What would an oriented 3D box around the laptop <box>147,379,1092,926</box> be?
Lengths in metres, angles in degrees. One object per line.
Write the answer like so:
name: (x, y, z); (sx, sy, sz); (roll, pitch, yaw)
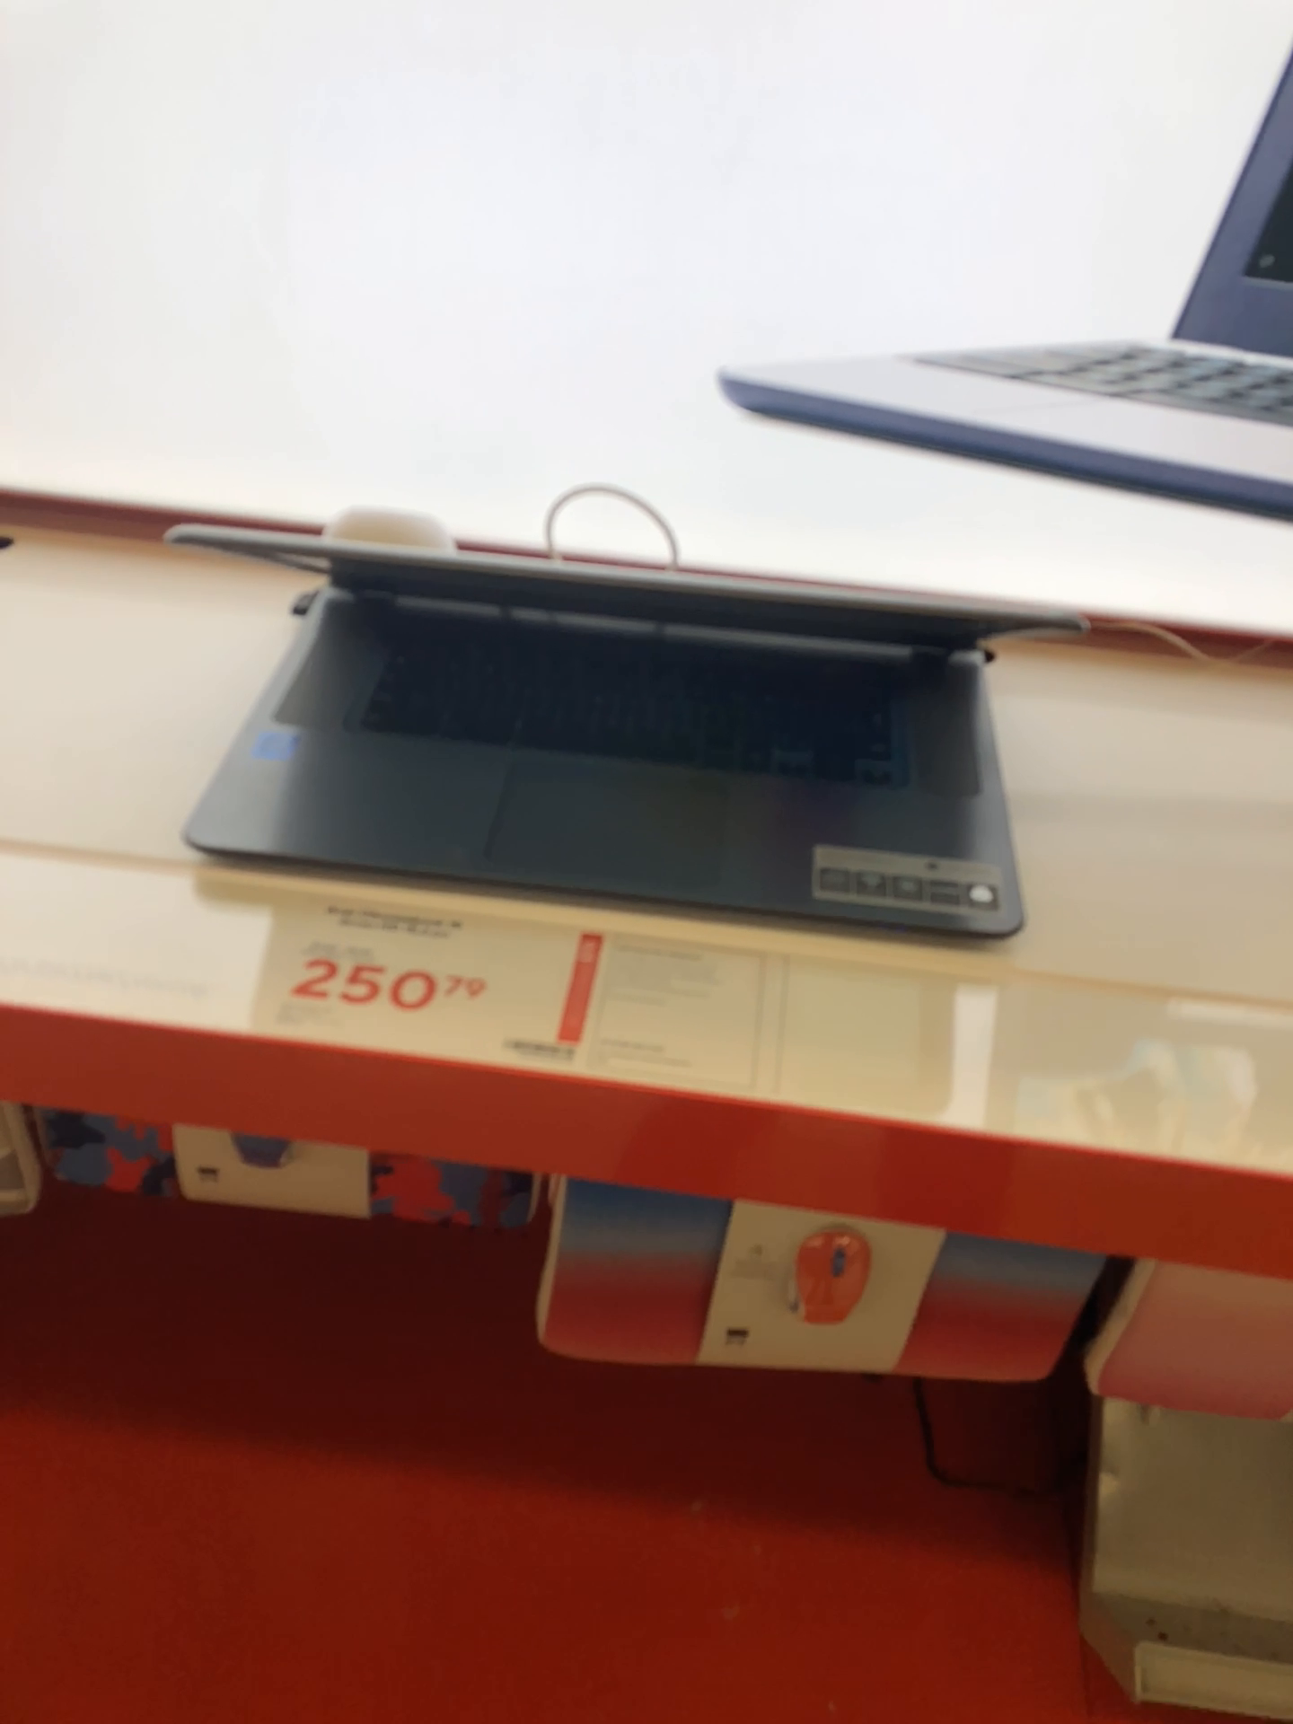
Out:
laptop: (-0.006, -0.112, 0.663); (0.363, 0.122, 0.238); (6, 37, 2)
